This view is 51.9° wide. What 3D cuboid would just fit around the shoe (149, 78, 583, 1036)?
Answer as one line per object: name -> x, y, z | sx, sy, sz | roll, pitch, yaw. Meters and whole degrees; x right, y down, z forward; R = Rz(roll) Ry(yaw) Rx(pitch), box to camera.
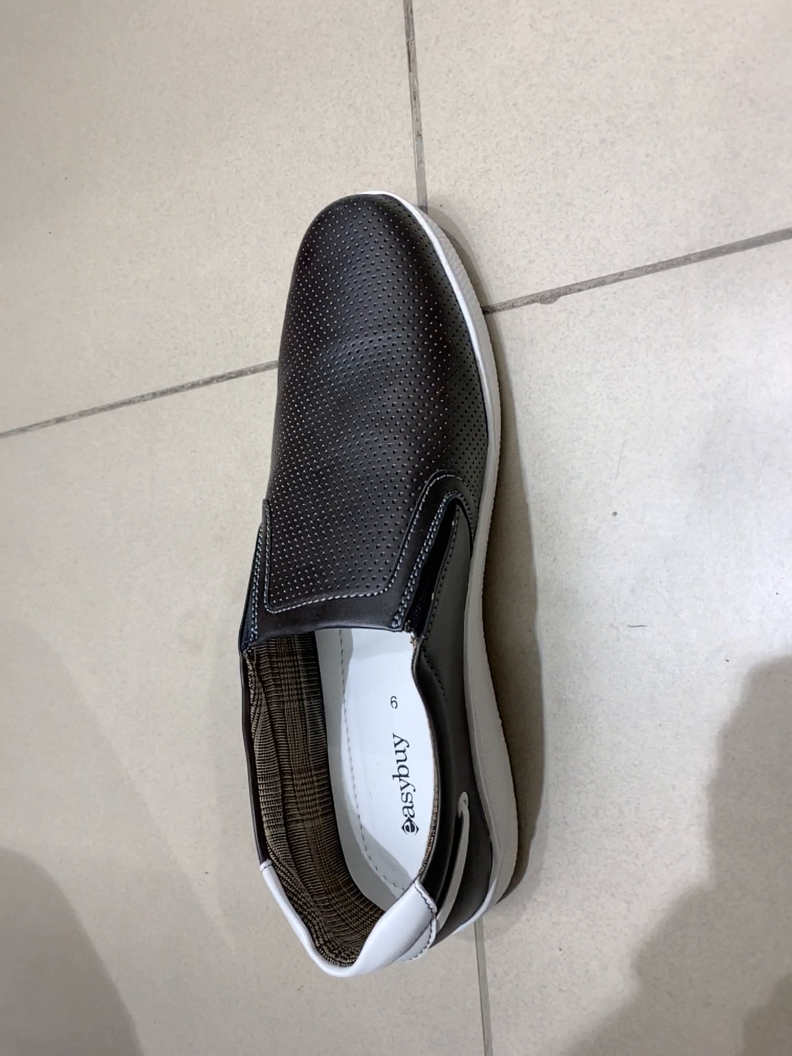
shoe -> -0.013, 0.010, 0.321 | 0.110, 0.090, 0.300 | -9, 84, 33
